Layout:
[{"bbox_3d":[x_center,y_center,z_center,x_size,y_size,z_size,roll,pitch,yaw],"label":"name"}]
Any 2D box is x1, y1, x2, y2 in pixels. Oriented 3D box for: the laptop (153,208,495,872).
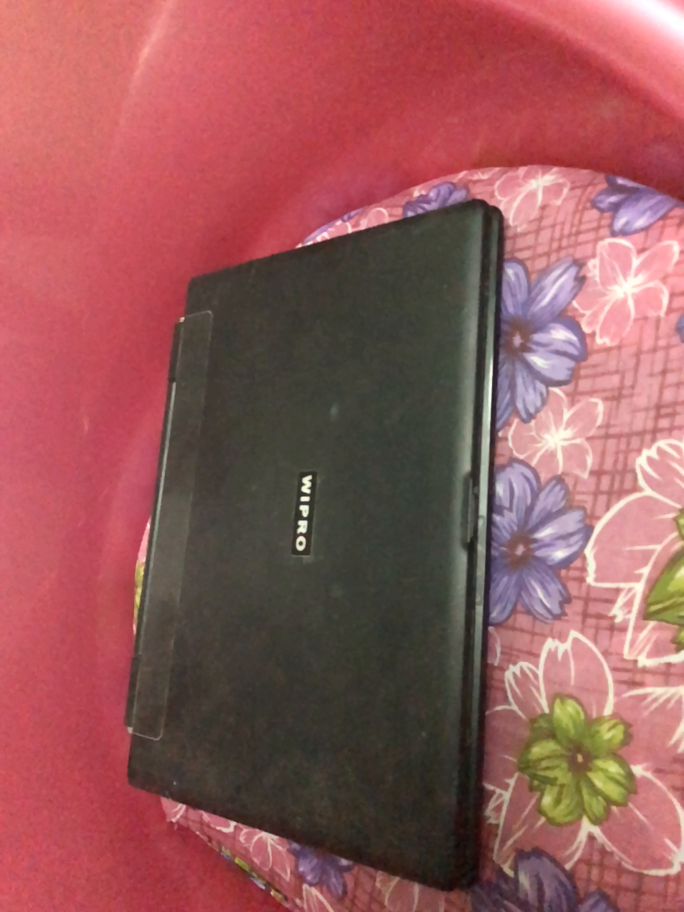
[{"bbox_3d":[-0.019,0.034,0.436,0.221,0.006,0.322,-4,77,39],"label":"laptop"}]
